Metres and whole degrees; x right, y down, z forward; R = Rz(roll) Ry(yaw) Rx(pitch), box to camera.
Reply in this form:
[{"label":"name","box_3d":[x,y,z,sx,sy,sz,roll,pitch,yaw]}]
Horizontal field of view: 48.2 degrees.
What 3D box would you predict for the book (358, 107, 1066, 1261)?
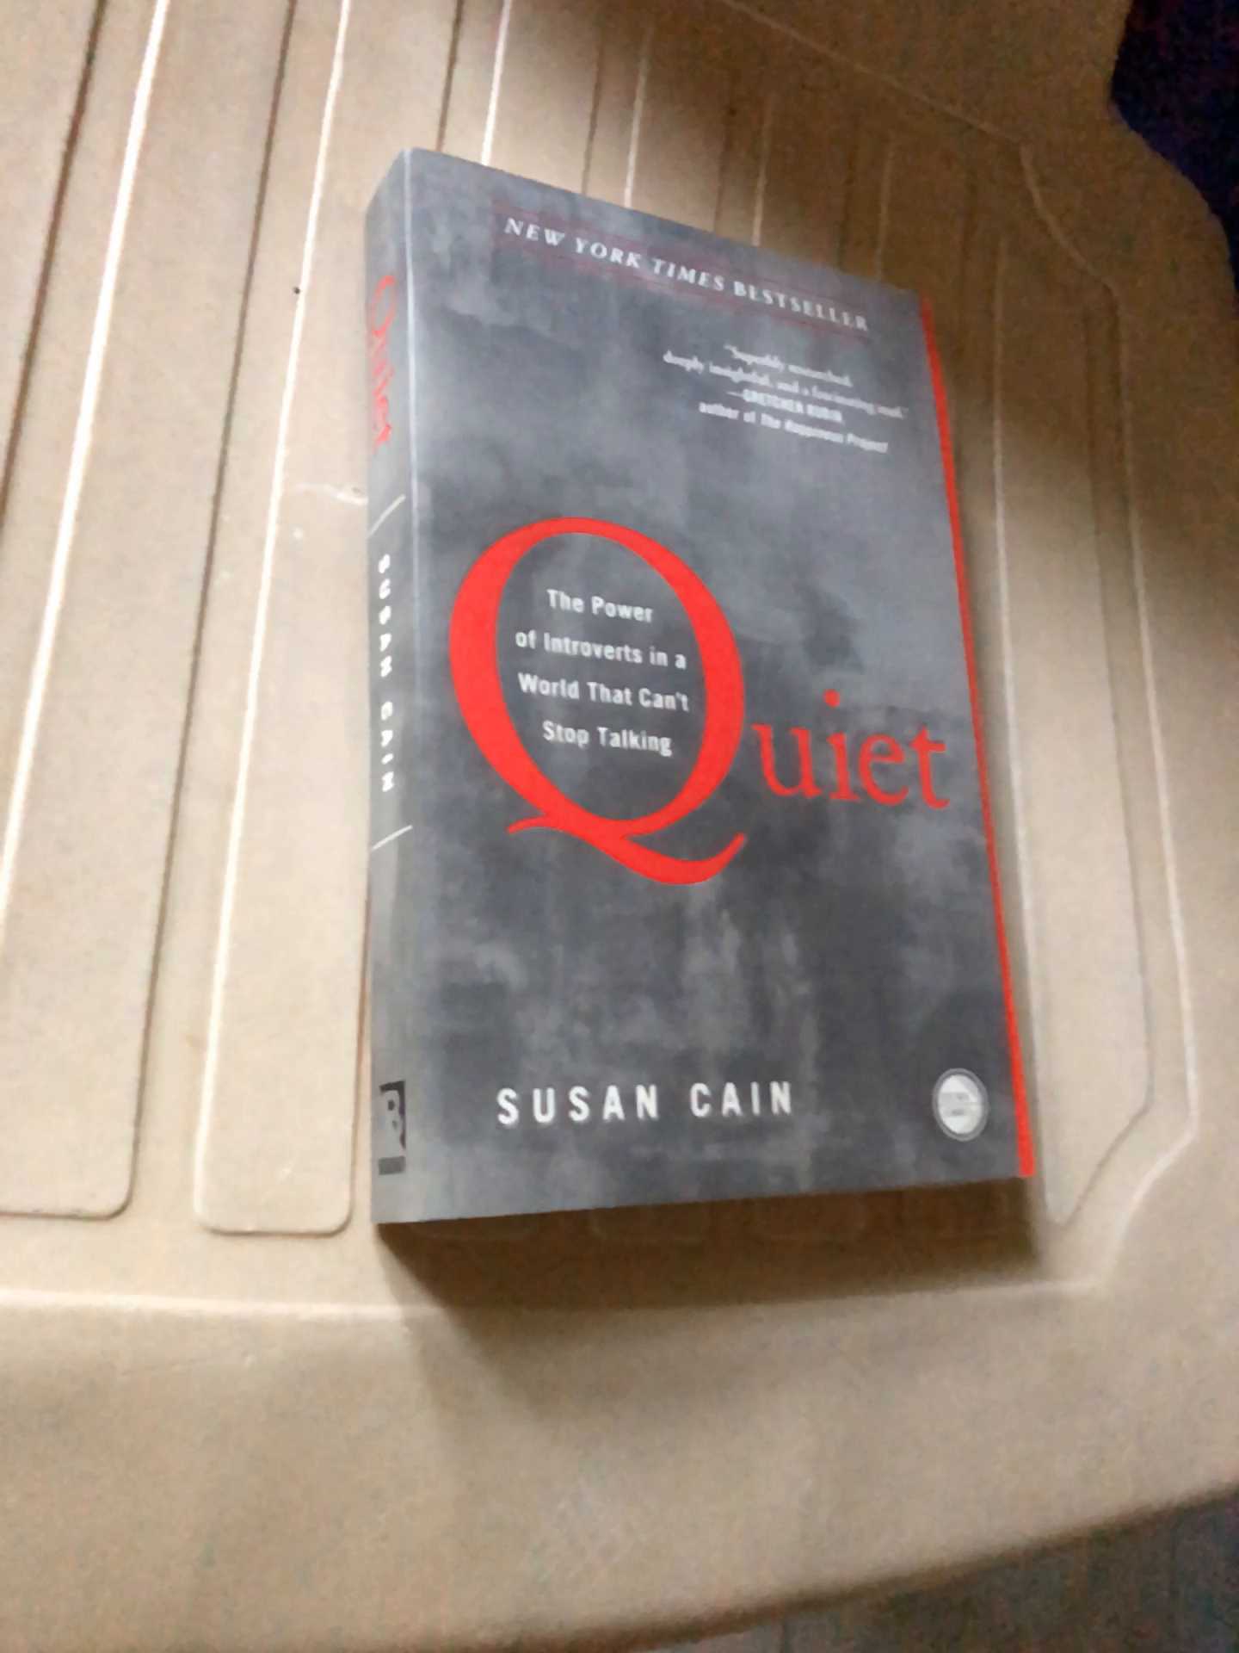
[{"label":"book","box_3d":[0.017,-0.025,0.271,0.131,0.030,0.200,4,75,-28]}]
